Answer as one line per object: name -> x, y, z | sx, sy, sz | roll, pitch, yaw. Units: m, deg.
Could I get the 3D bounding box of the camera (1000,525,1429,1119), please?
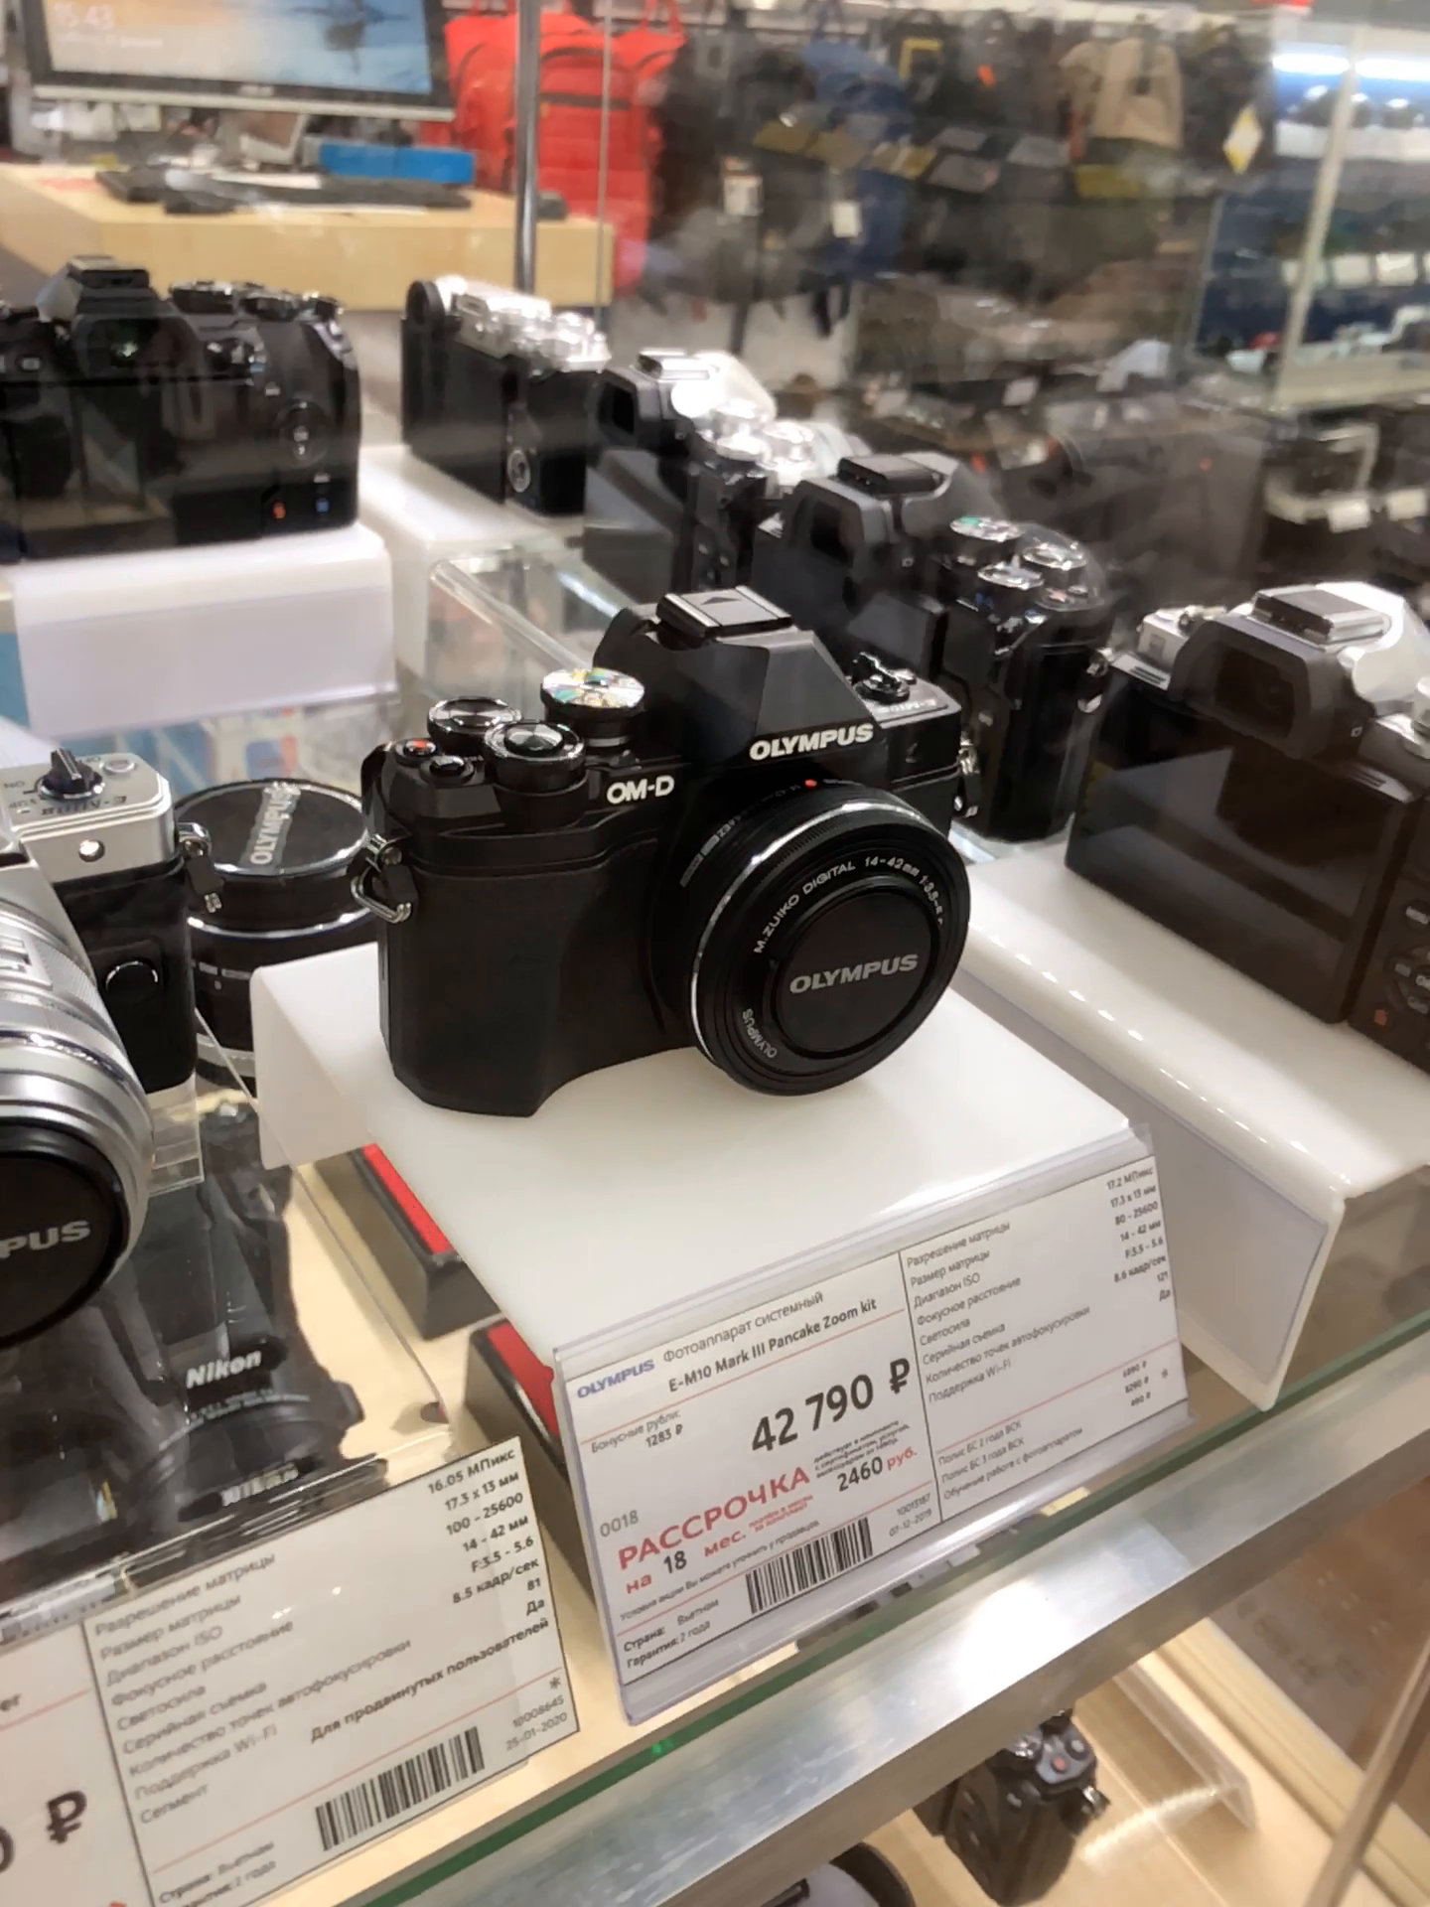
camera -> 0.147, -0.039, 0.359 | 0.094, 0.074, 0.124 | -16, 36, -31

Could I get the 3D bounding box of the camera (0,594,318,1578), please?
camera -> -0.129, 0.007, 0.230 | 0.112, 0.080, 0.094 | -13, 35, -28

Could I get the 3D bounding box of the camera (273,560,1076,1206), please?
camera -> -0.009, -0.020, 0.305 | 0.129, 0.082, 0.064 | -13, 34, -28
